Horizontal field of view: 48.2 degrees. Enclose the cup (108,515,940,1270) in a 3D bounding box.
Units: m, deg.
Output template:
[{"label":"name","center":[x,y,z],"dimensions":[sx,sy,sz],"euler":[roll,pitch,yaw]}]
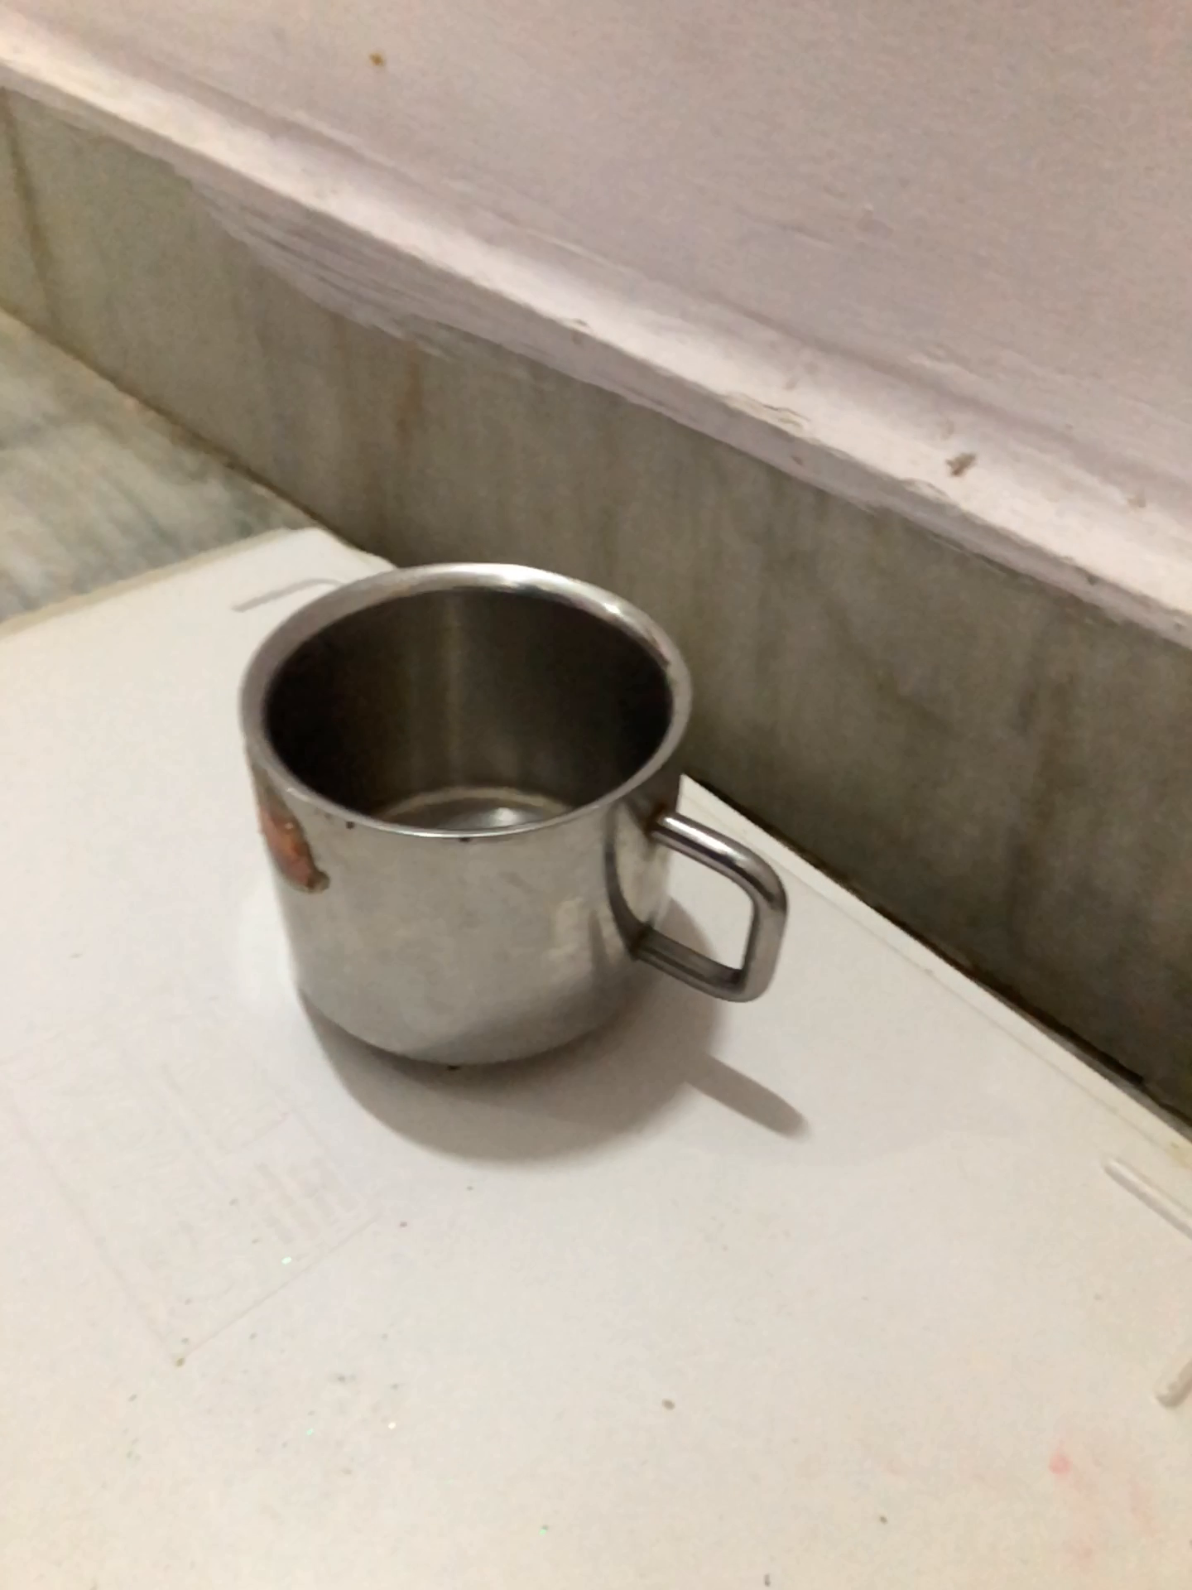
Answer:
[{"label":"cup","center":[-0.012,0.007,0.221],"dimensions":[0.100,0.050,0.080],"euler":[30,47,27]}]
